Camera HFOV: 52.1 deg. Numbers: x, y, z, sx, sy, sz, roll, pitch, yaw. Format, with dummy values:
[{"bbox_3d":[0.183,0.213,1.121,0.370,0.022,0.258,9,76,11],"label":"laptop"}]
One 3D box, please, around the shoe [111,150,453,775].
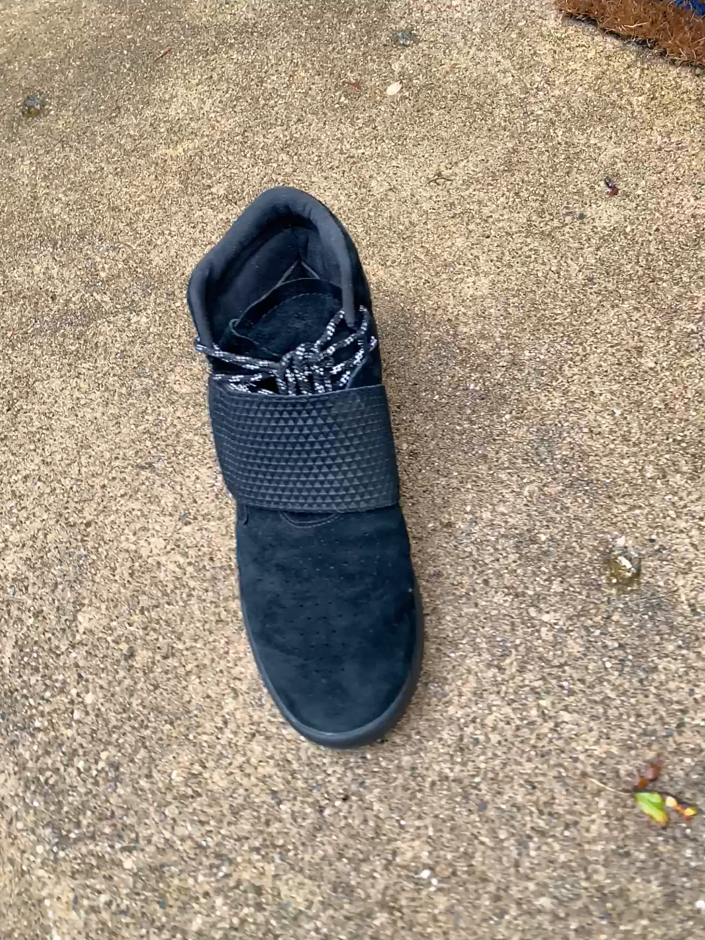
[{"bbox_3d":[-0.025,-0.003,0.386,0.119,0.141,0.291,-7,62,7],"label":"shoe"}]
